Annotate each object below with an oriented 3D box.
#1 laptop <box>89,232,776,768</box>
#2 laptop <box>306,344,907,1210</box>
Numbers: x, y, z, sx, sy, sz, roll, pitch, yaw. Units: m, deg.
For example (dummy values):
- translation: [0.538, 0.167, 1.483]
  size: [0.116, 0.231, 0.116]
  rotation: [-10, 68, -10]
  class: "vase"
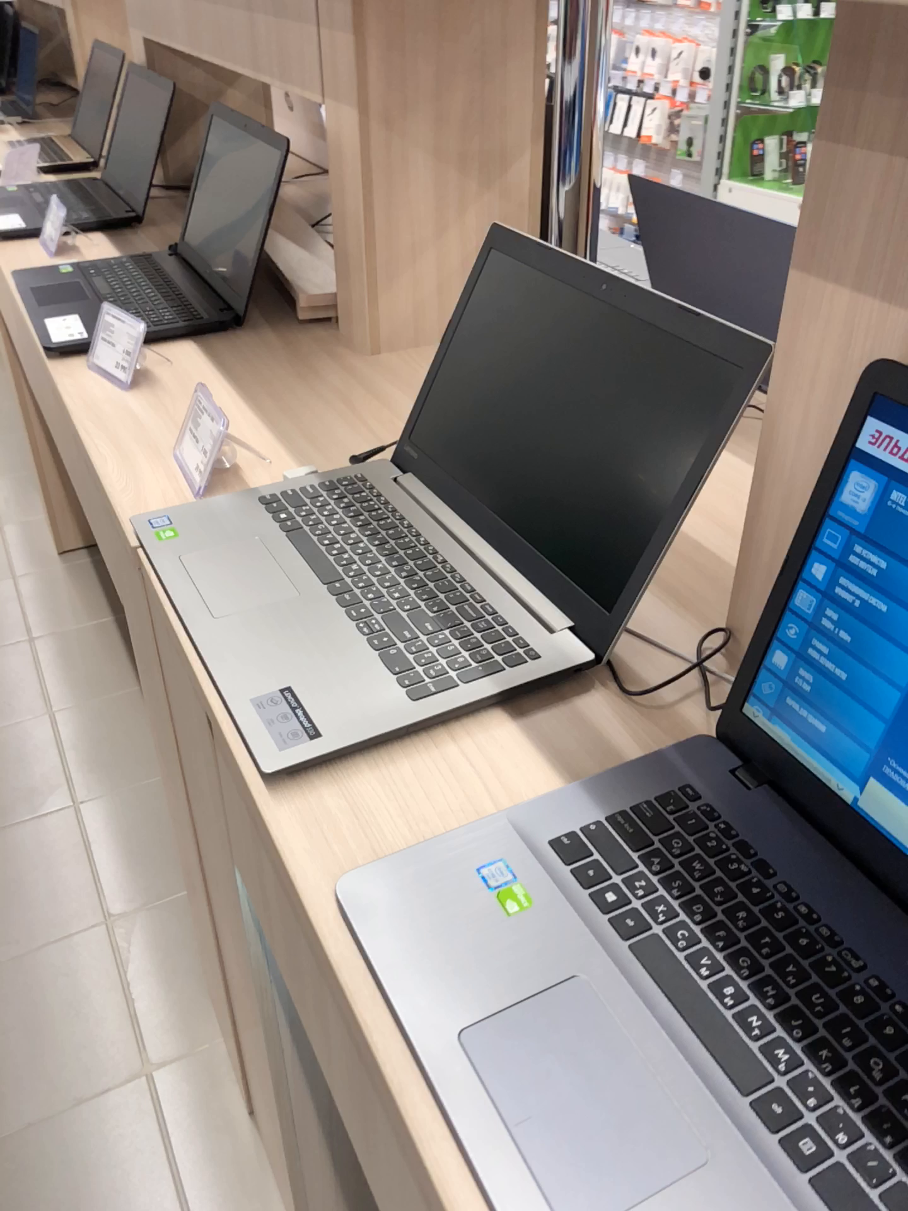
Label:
- translation: [-0.039, -0.122, 0.770]
  size: [0.366, 0.208, 0.371]
  rotation: [-16, 36, -22]
  class: "laptop"
- translation: [0.172, 0.106, 0.392]
  size: [0.334, 0.246, 0.404]
  rotation: [-16, 36, -21]
  class: "laptop"
